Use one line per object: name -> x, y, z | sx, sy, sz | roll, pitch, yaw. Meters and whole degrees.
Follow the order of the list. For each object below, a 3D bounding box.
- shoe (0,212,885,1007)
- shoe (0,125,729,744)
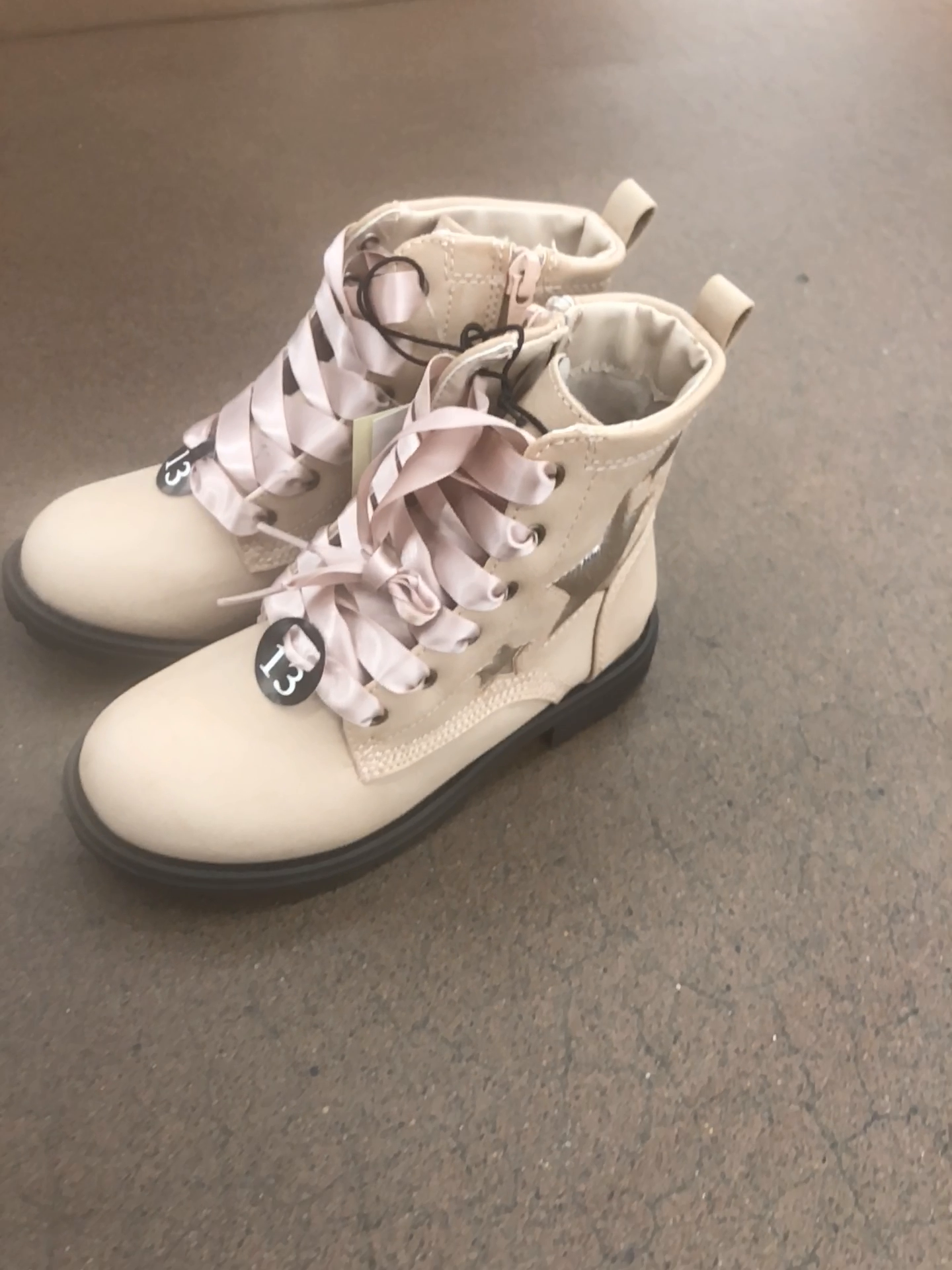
shoe -> -0.020, -0.009, 0.311 | 0.220, 0.150, 0.090 | -22, 58, -22
shoe -> -0.051, -0.068, 0.365 | 0.220, 0.150, 0.090 | -14, 55, -18
